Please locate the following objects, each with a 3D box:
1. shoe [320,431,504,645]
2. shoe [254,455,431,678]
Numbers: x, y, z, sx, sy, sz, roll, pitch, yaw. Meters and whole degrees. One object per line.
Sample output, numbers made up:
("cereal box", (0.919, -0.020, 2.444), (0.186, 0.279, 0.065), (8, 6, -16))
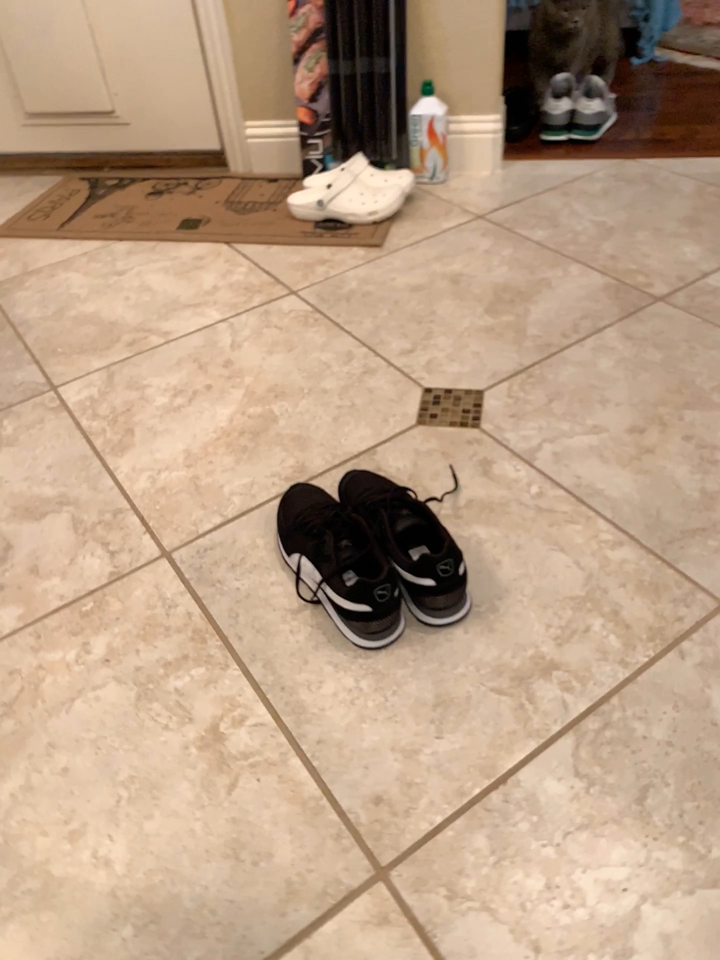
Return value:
("shoe", (0.059, 0.064, 0.961), (0.108, 0.095, 0.270), (-22, 45, -17))
("shoe", (-0.028, 0.098, 0.935), (0.108, 0.095, 0.270), (-21, 44, -18))
